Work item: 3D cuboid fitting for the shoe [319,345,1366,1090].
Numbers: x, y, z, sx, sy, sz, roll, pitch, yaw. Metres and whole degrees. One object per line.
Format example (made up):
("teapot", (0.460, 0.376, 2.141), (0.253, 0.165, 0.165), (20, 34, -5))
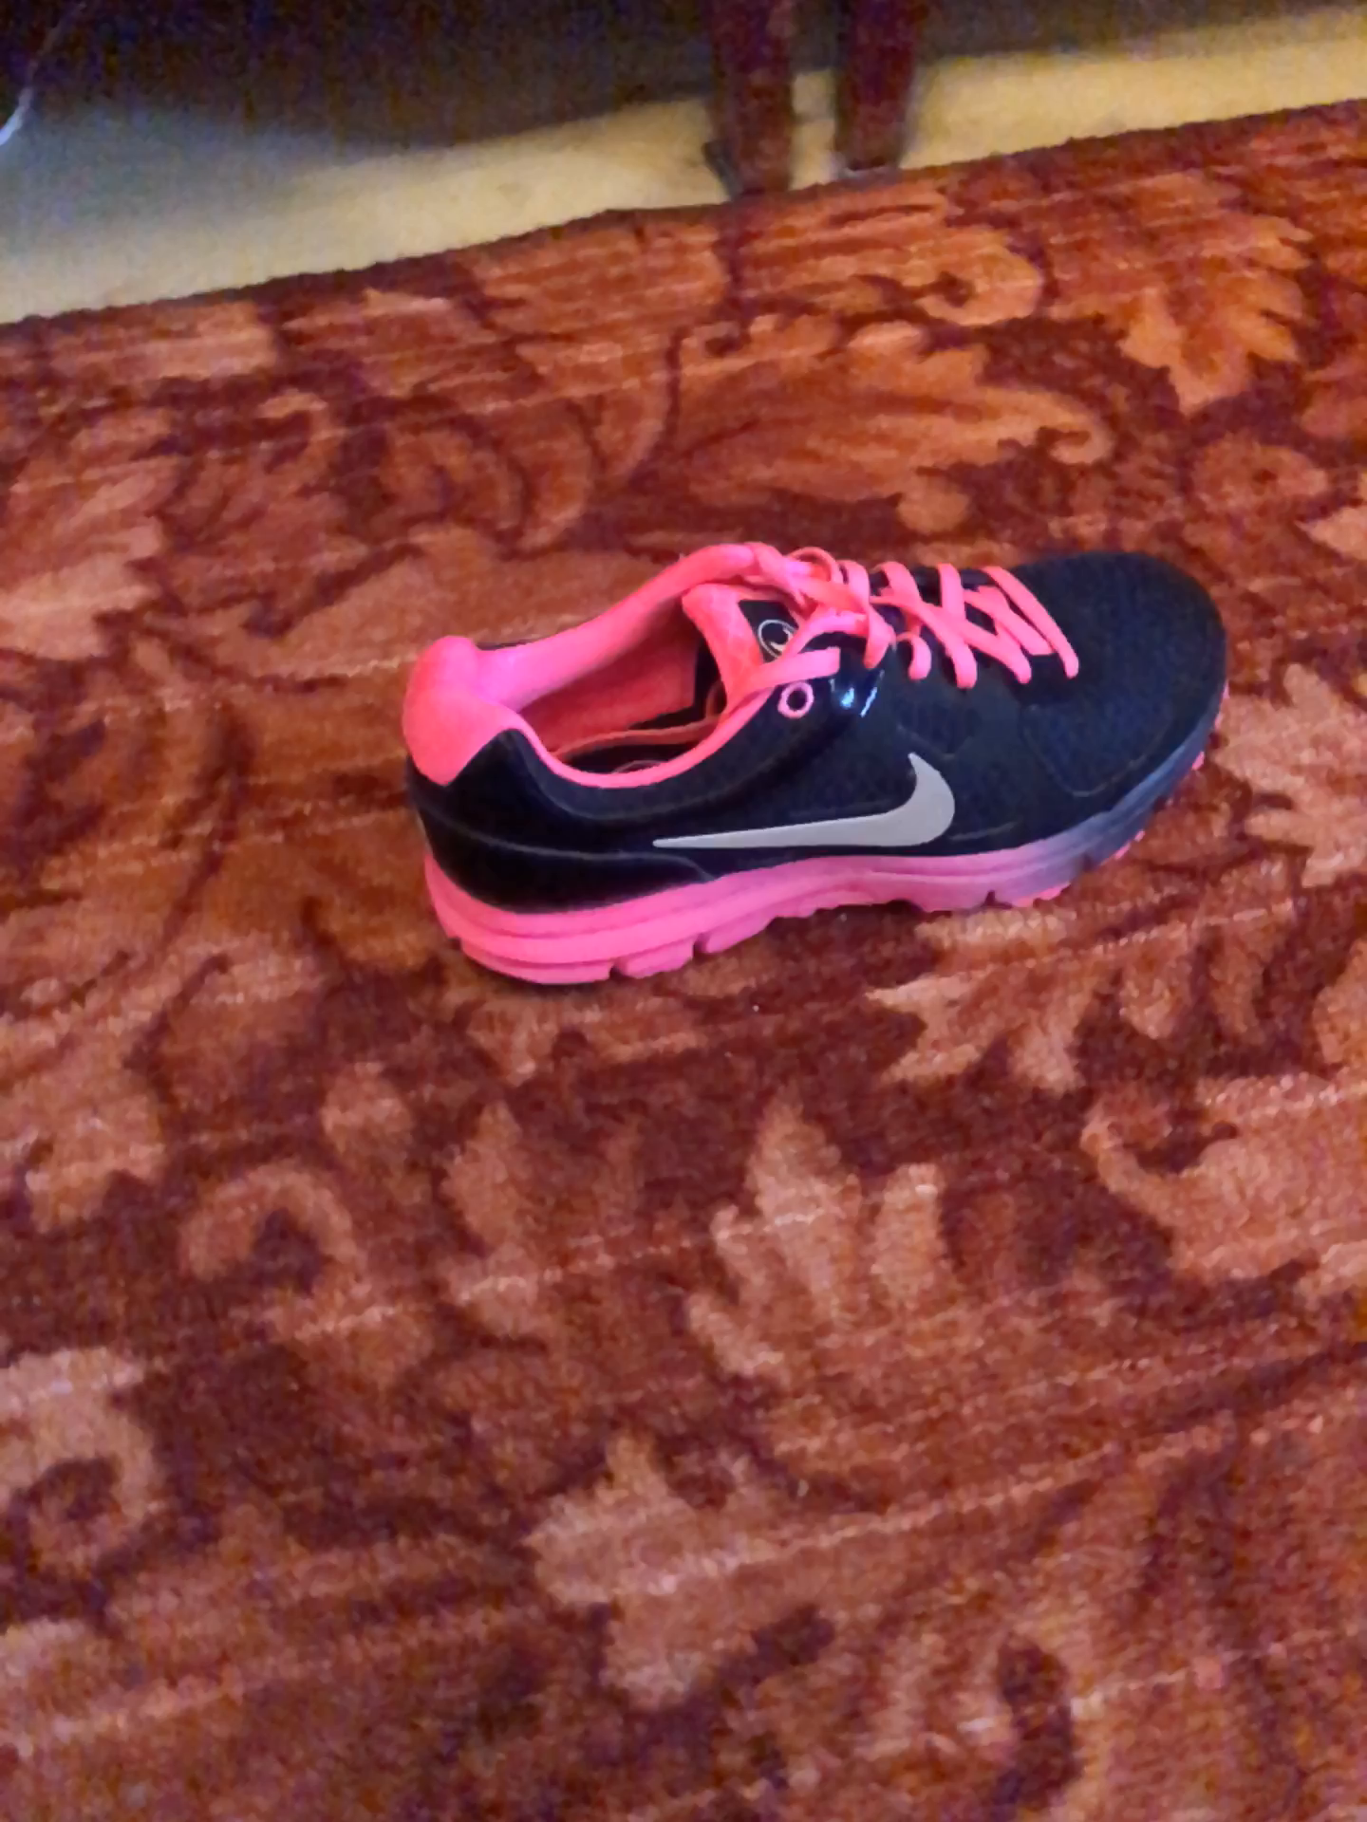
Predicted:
("shoe", (0.039, -0.055, 0.421), (0.240, 0.110, 0.100), (-17, 55, -9))
